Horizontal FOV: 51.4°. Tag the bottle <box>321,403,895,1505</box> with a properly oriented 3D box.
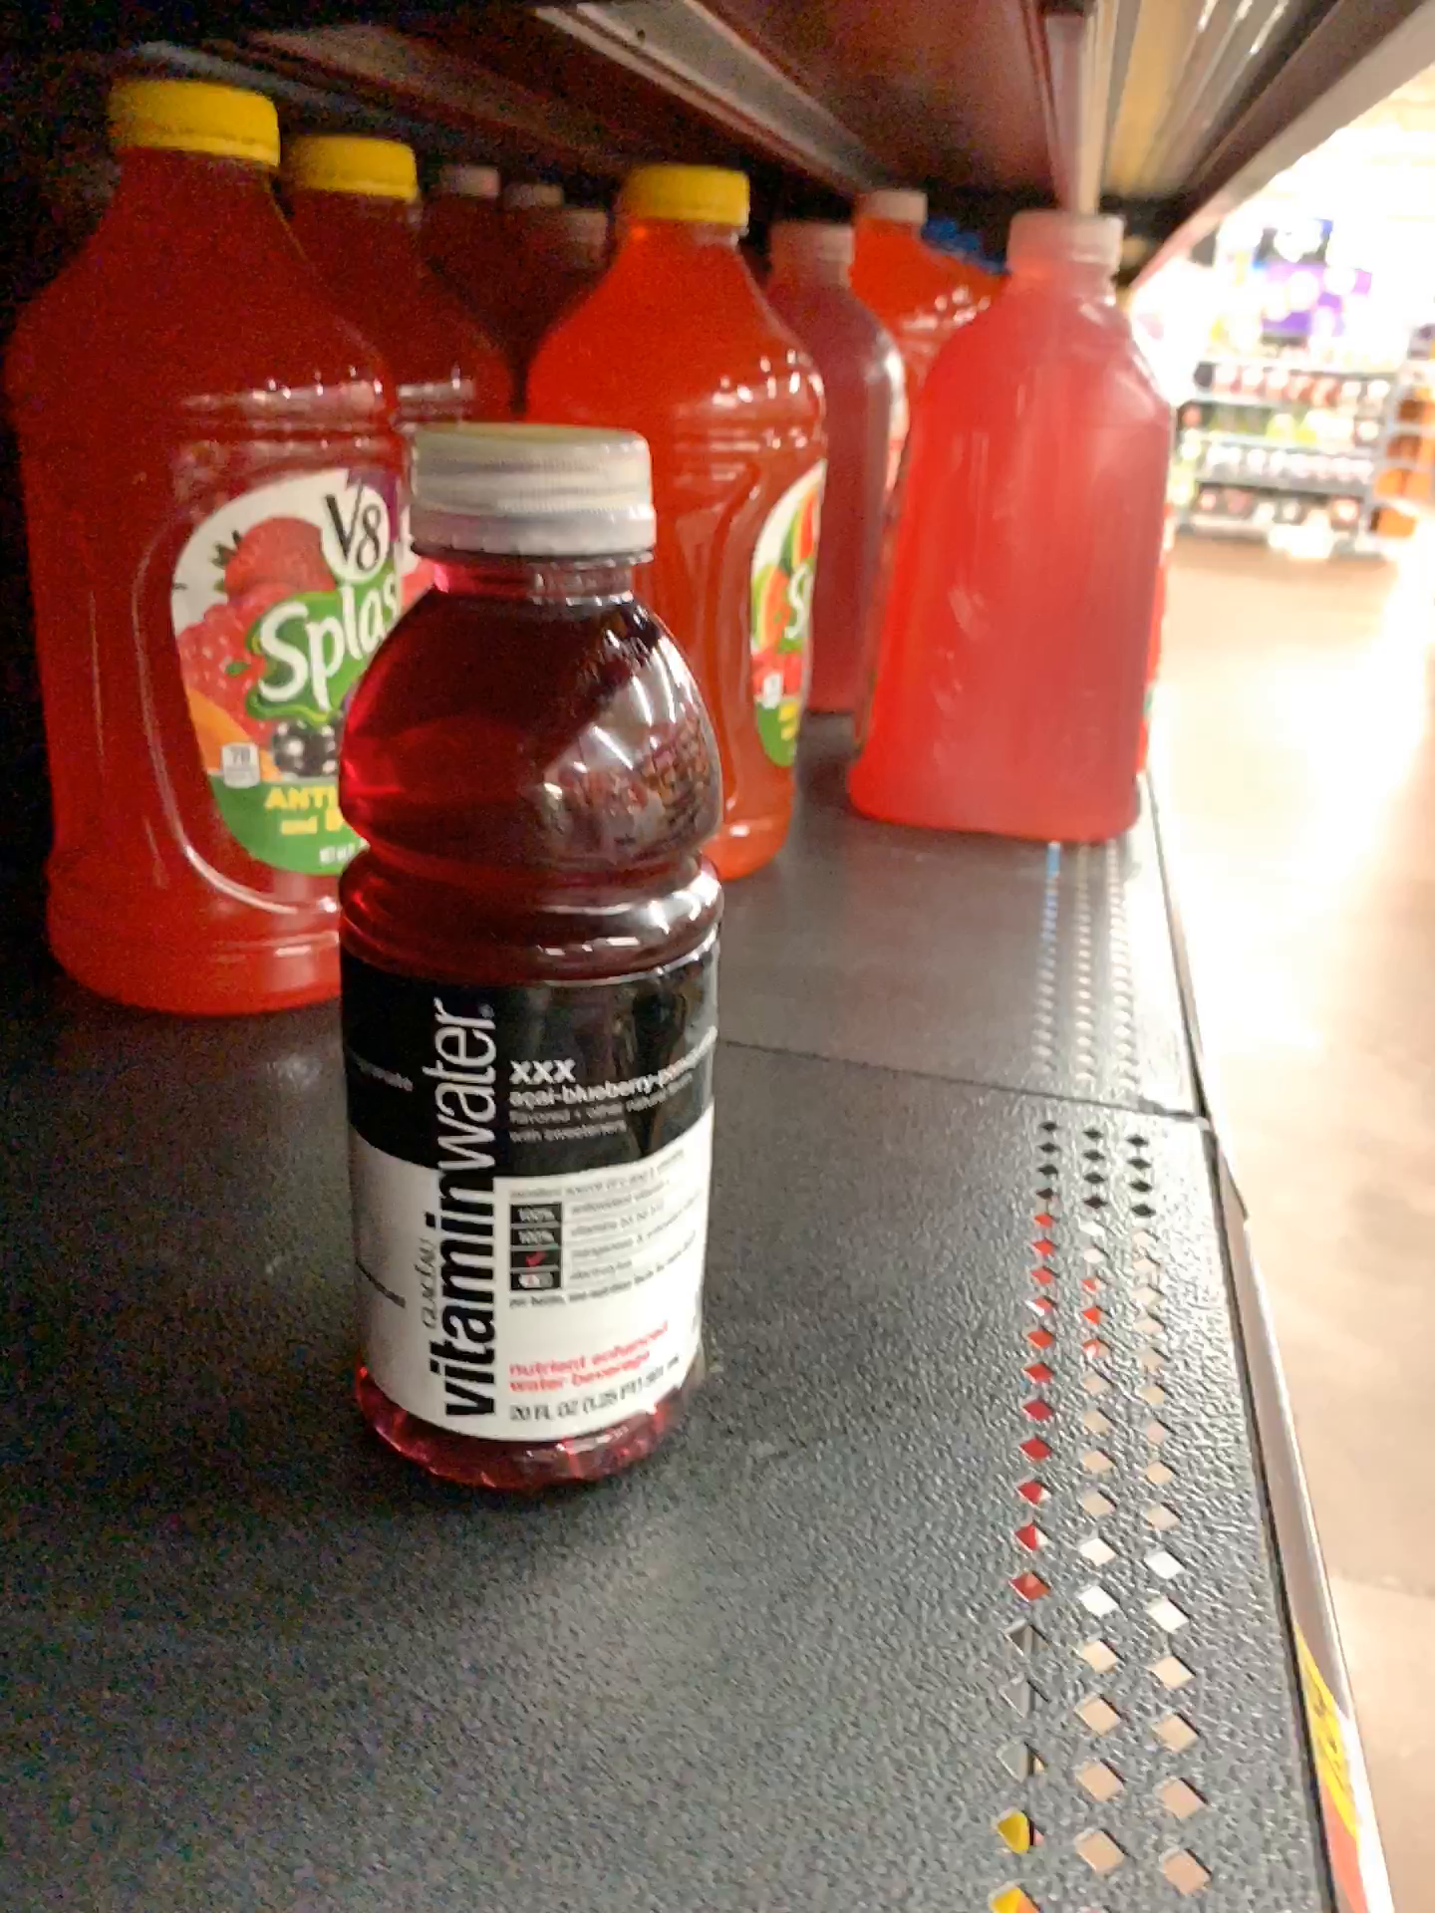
[{"bbox_3d":[-0.030,-0.002,0.277,0.080,0.179,0.080,4,23,-2],"label":"bottle"}]
